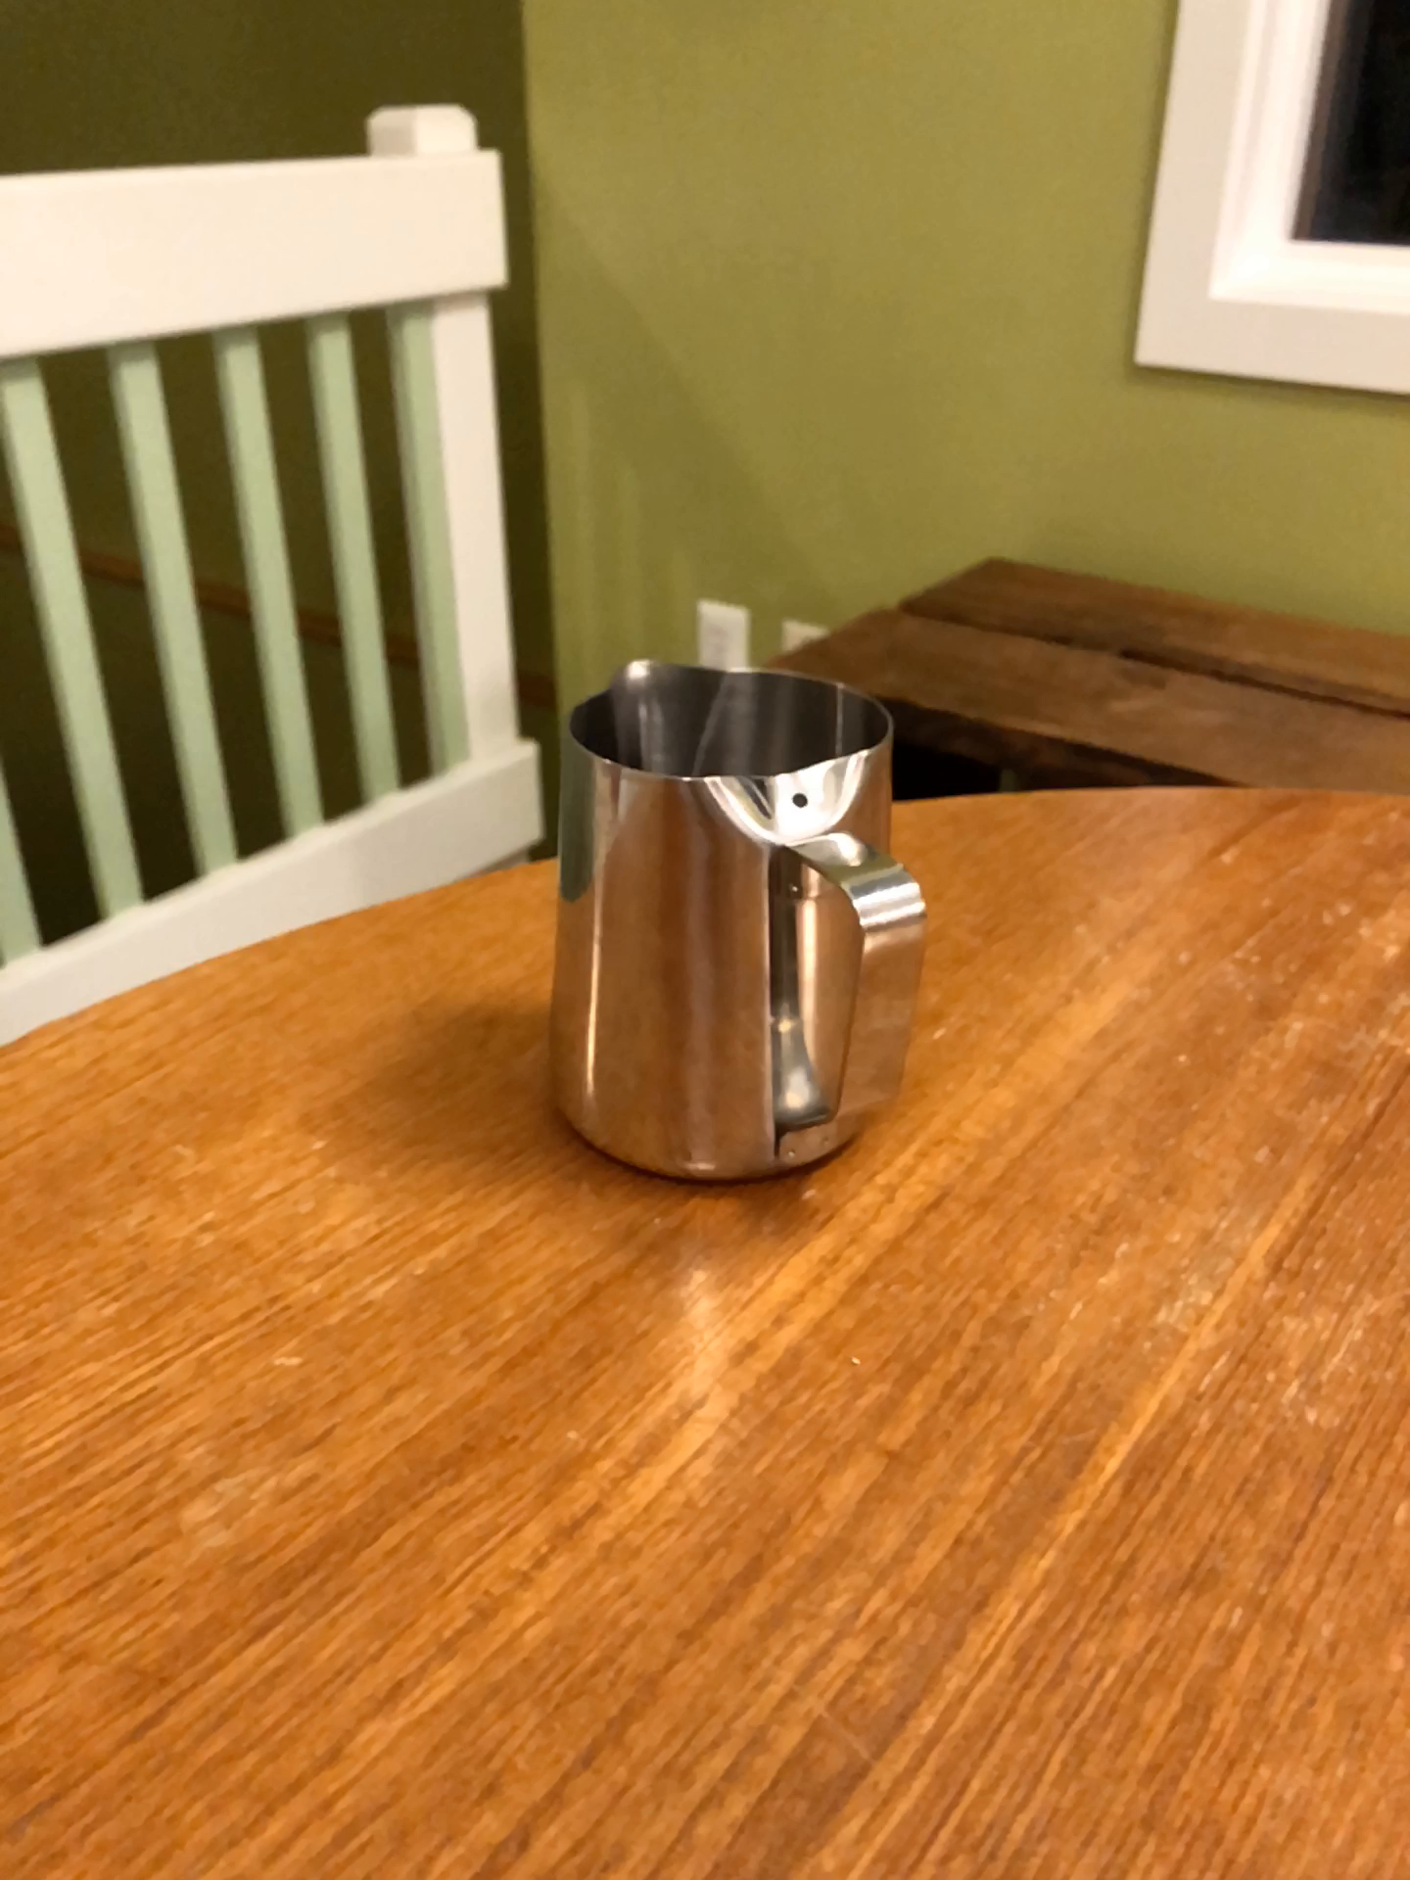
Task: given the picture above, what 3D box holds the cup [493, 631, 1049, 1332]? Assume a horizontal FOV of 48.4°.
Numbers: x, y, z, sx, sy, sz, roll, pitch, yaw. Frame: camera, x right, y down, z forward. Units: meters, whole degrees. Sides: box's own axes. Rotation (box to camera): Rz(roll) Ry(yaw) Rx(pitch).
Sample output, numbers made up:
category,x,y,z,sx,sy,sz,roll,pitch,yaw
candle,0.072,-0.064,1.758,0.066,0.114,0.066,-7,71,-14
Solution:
category,x,y,z,sx,sy,sz,roll,pitch,yaw
cup,0.009,0.001,0.401,0.082,0.114,0.136,-12,31,-20
